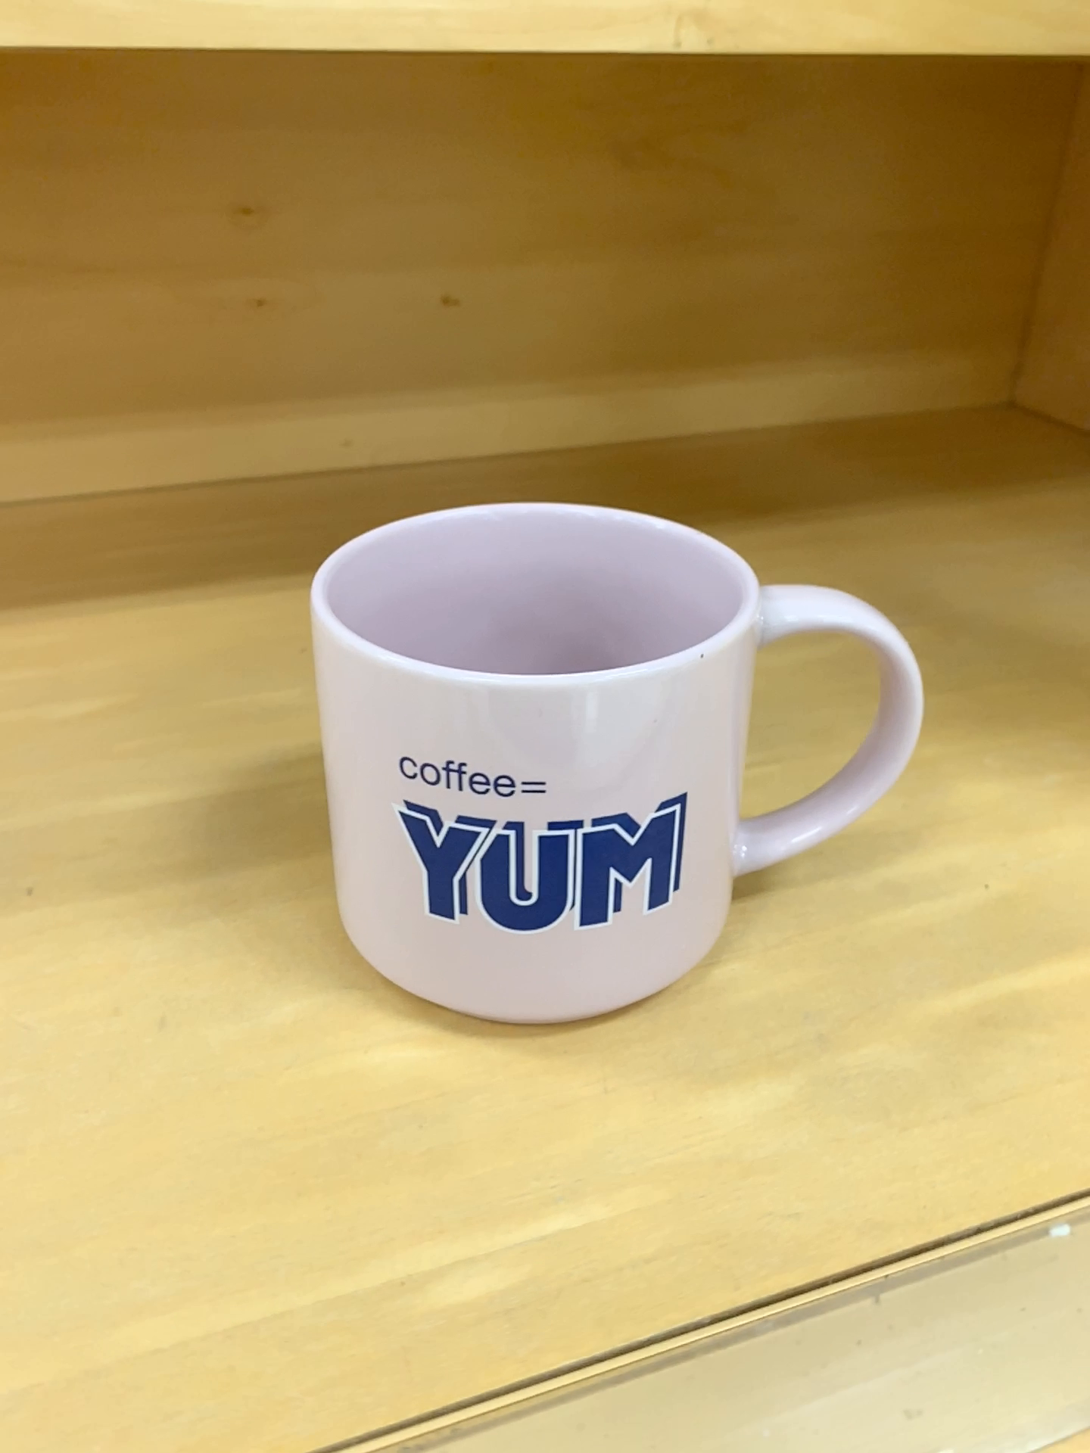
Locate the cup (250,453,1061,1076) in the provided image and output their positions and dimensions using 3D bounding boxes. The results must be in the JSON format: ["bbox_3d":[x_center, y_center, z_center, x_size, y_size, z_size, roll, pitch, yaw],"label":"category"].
[{"bbox_3d":[0.014,-0.001,0.254,0.141,0.082,0.097,-8,31,-14],"label":"cup"}]
